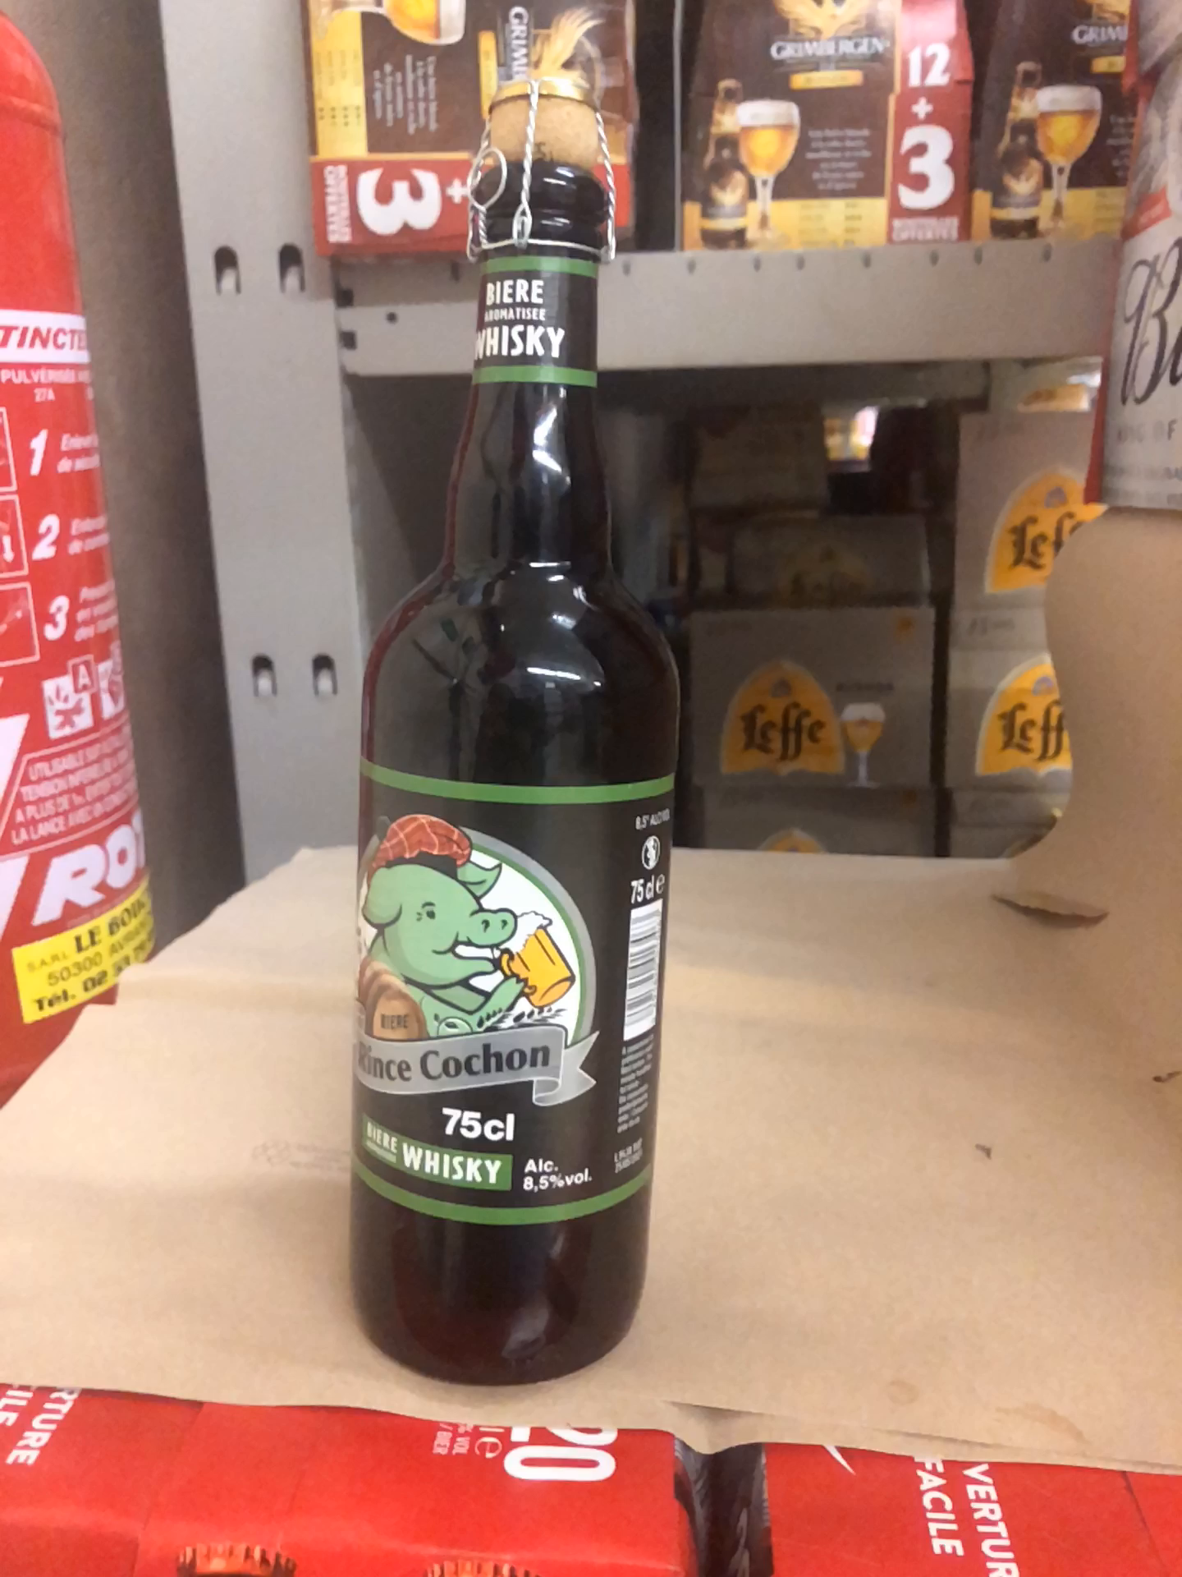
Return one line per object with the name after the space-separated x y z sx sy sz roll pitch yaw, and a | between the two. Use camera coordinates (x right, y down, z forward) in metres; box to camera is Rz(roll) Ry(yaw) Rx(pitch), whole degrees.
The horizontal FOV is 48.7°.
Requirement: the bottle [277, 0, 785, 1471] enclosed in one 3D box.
-0.011 -0.012 0.306 0.090 0.299 0.080 4 8 16 | bottle
